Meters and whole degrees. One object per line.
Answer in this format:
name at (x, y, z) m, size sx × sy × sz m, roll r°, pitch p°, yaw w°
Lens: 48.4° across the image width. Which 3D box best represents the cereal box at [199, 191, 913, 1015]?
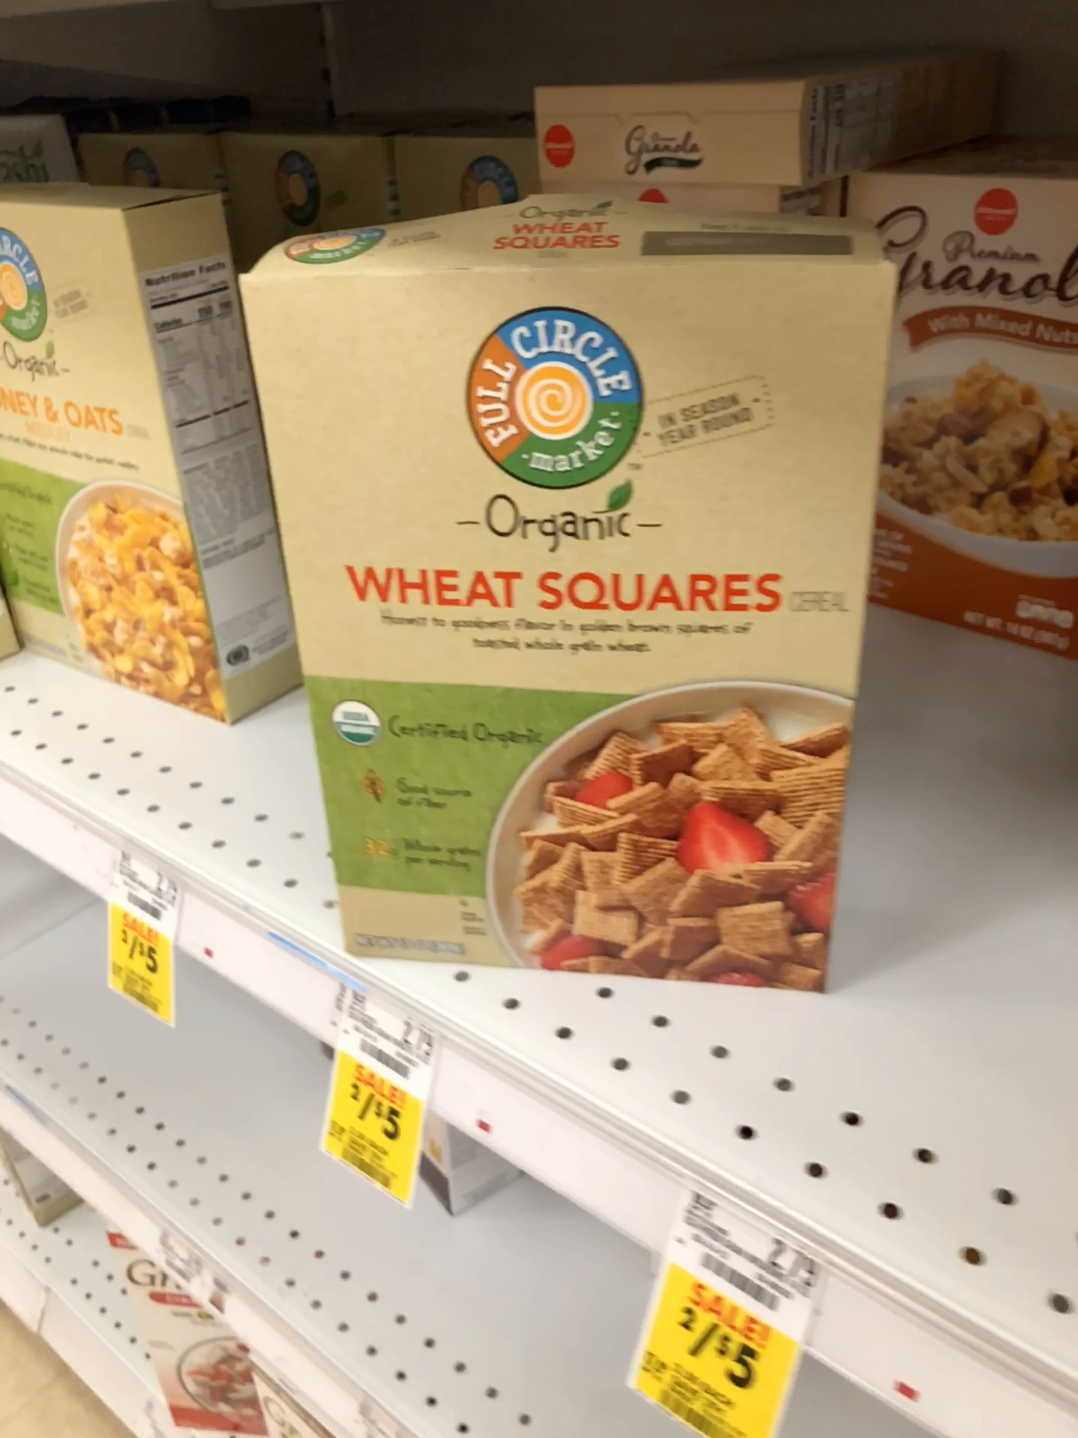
cereal box at (0.013, -0.026, 0.422) m, size 0.200 × 0.279 × 0.050 m, roll 2°, pitch 31°, yaw 11°
